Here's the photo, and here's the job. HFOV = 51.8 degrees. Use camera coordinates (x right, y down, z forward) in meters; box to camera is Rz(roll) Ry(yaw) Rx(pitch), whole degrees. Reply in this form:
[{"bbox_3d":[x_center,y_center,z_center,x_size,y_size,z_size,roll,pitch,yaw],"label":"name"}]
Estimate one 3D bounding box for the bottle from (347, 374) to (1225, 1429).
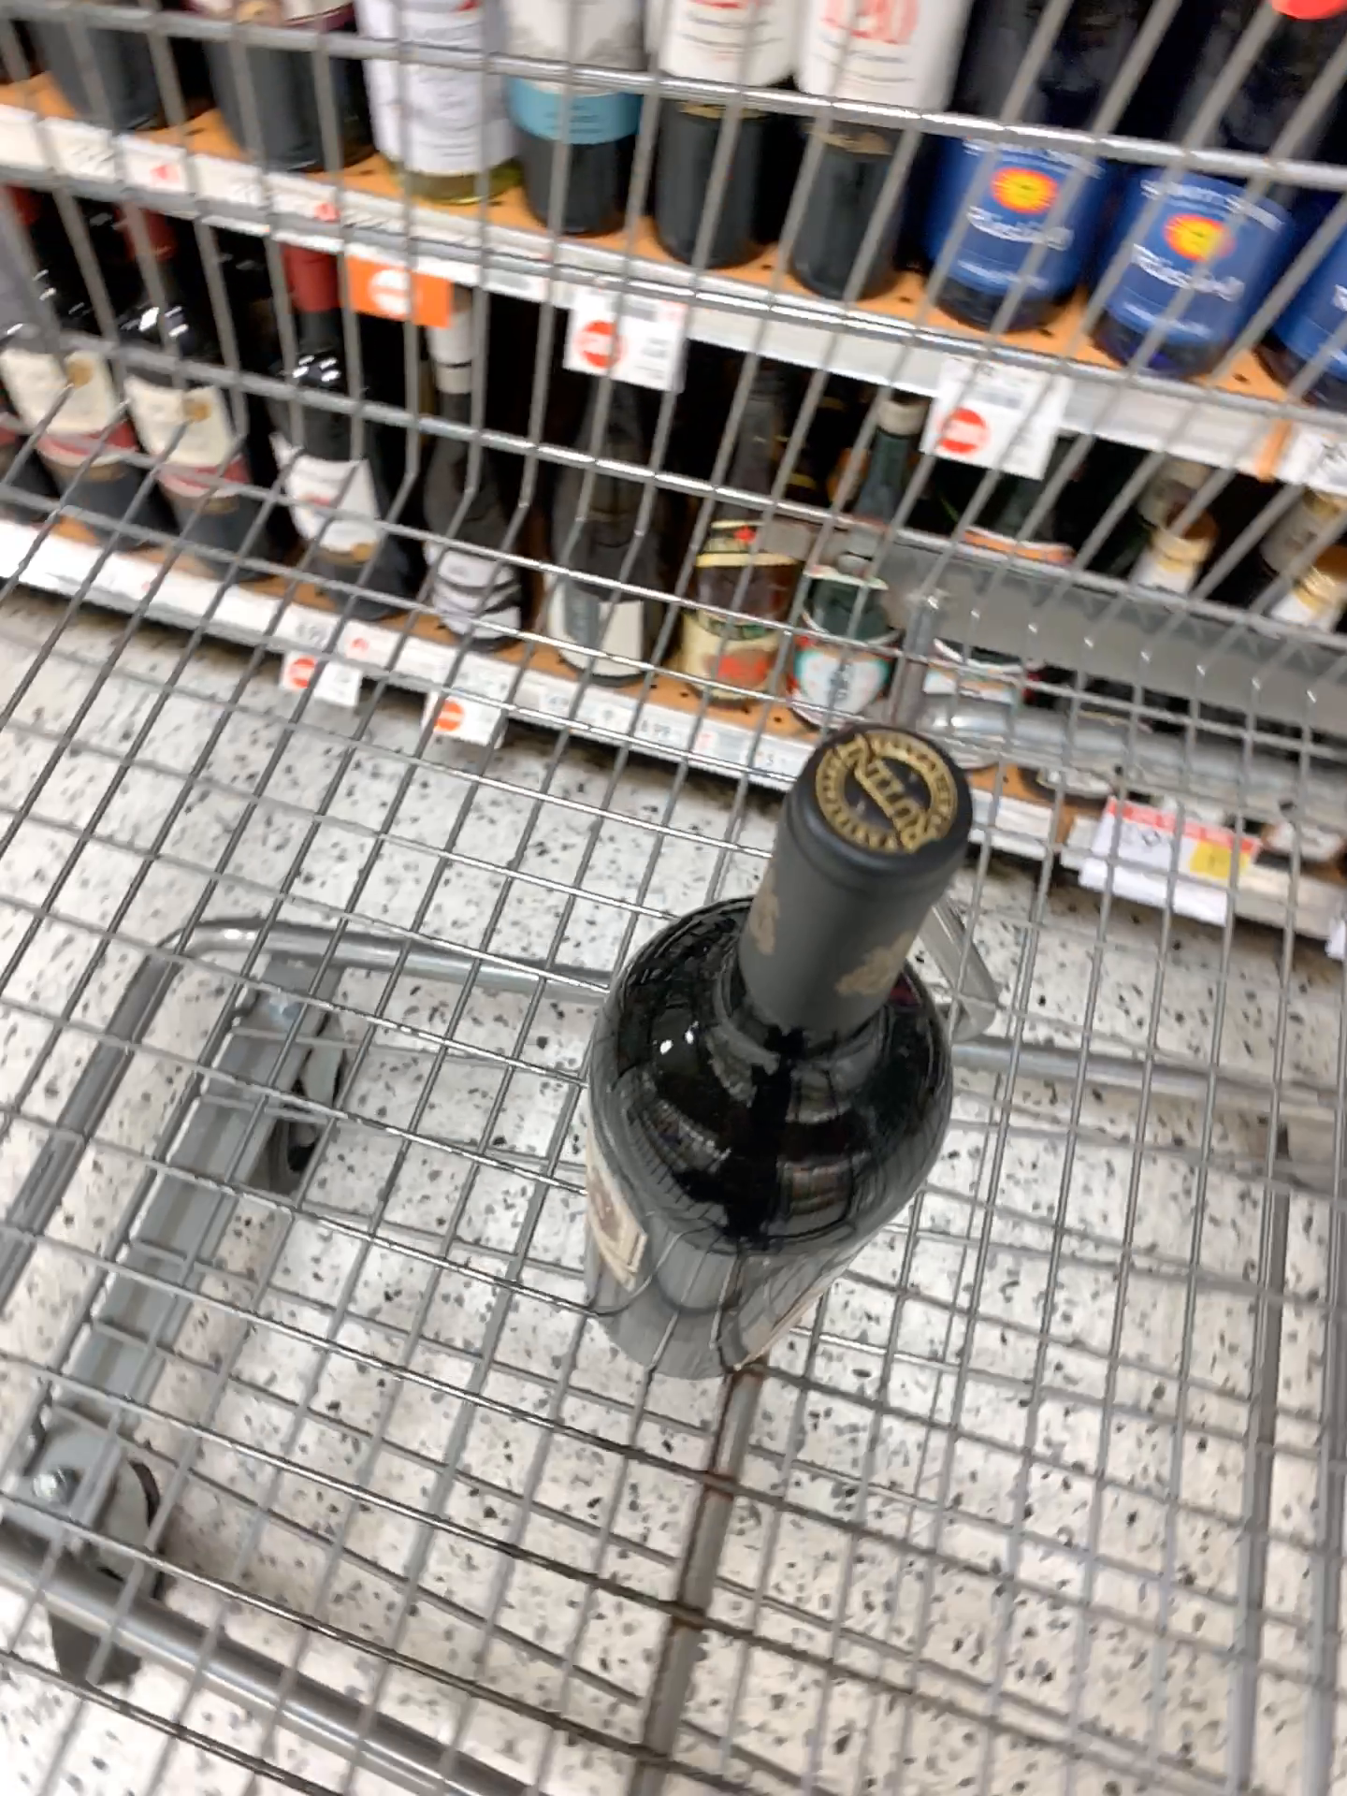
[{"bbox_3d":[0.013,0.041,0.317,0.100,0.298,0.091,15,62,5],"label":"bottle"}]
